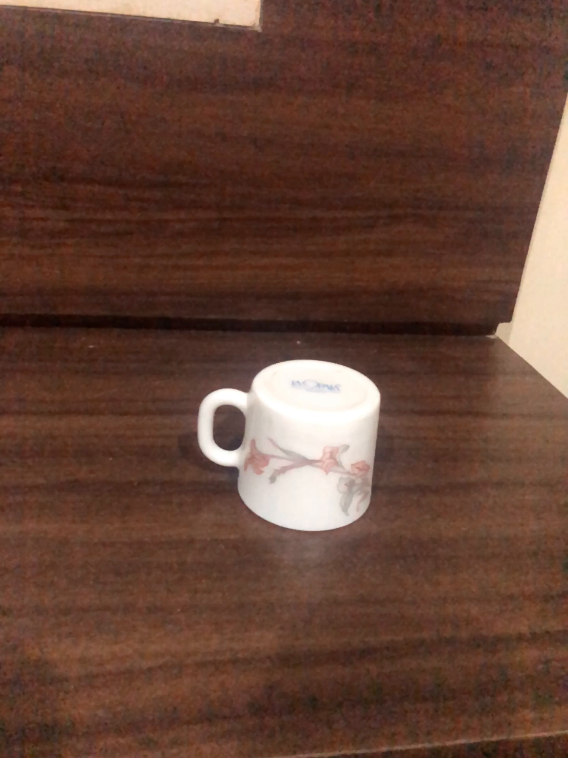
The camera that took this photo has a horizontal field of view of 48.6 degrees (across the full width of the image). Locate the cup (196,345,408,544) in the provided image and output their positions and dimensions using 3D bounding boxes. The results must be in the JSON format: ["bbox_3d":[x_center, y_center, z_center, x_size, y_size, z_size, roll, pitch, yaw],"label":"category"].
[{"bbox_3d":[0.006,0.031,0.310,0.090,0.070,0.060,4,29,-2],"label":"cup"}]
